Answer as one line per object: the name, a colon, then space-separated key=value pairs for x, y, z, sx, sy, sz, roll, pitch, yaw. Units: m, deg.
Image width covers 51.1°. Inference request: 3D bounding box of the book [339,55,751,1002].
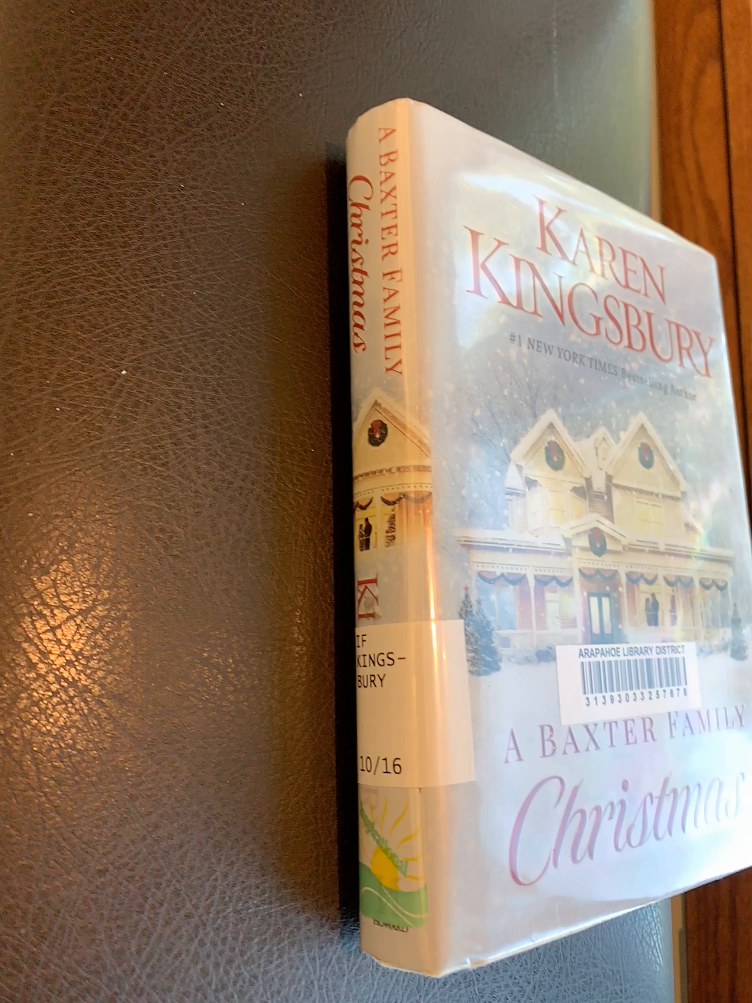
book: x=0.054 y=0.004 z=0.196 sx=0.135 sy=0.023 sz=0.180 roll=6 pitch=77 yaw=-37
